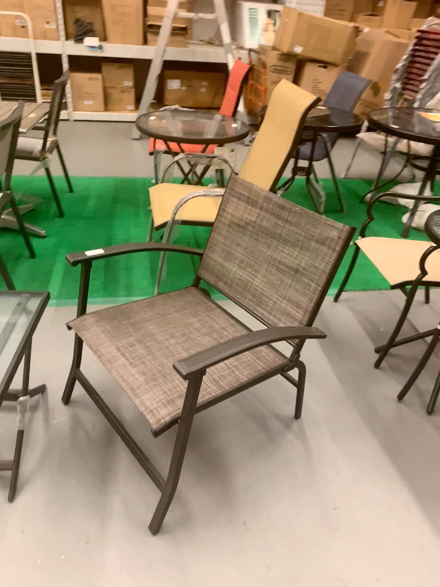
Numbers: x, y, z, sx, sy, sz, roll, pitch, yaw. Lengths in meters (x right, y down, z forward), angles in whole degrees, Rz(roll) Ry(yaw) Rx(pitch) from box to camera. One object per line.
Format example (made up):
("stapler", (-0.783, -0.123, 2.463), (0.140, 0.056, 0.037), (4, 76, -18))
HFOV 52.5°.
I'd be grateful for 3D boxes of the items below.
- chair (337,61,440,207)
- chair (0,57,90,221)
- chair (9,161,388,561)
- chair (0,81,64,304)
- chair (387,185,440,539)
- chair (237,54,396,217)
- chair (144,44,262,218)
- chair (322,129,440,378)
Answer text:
("chair", (1.680, -1.373, 3.884), (0.868, 0.996, 0.698), (0, 34, -11))
("chair", (-1.232, -0.993, 2.894), (0.628, 0.837, 0.557), (3, 34, -7))
("chair", (-0.081, 0.118, 1.415), (0.770, 0.778, 0.676), (-23, 43, -35))
("chair", (-1.149, -0.464, 2.093), (0.628, 0.827, 0.557), (3, 34, -7))
("chair", (1.077, 0.178, 1.381), (0.628, 0.847, 0.557), (-5, 35, -19))
("chair", (0.649, -1.187, 3.379), (0.768, 0.957, 0.738), (-1, 34, -13))
("chair", (-0.172, -1.130, 3.127), (0.668, 0.957, 0.678), (2, 34, -8))
("chair", (0.934, -0.171, 1.898), (0.628, 0.837, 0.577), (-1, 34, -13))
